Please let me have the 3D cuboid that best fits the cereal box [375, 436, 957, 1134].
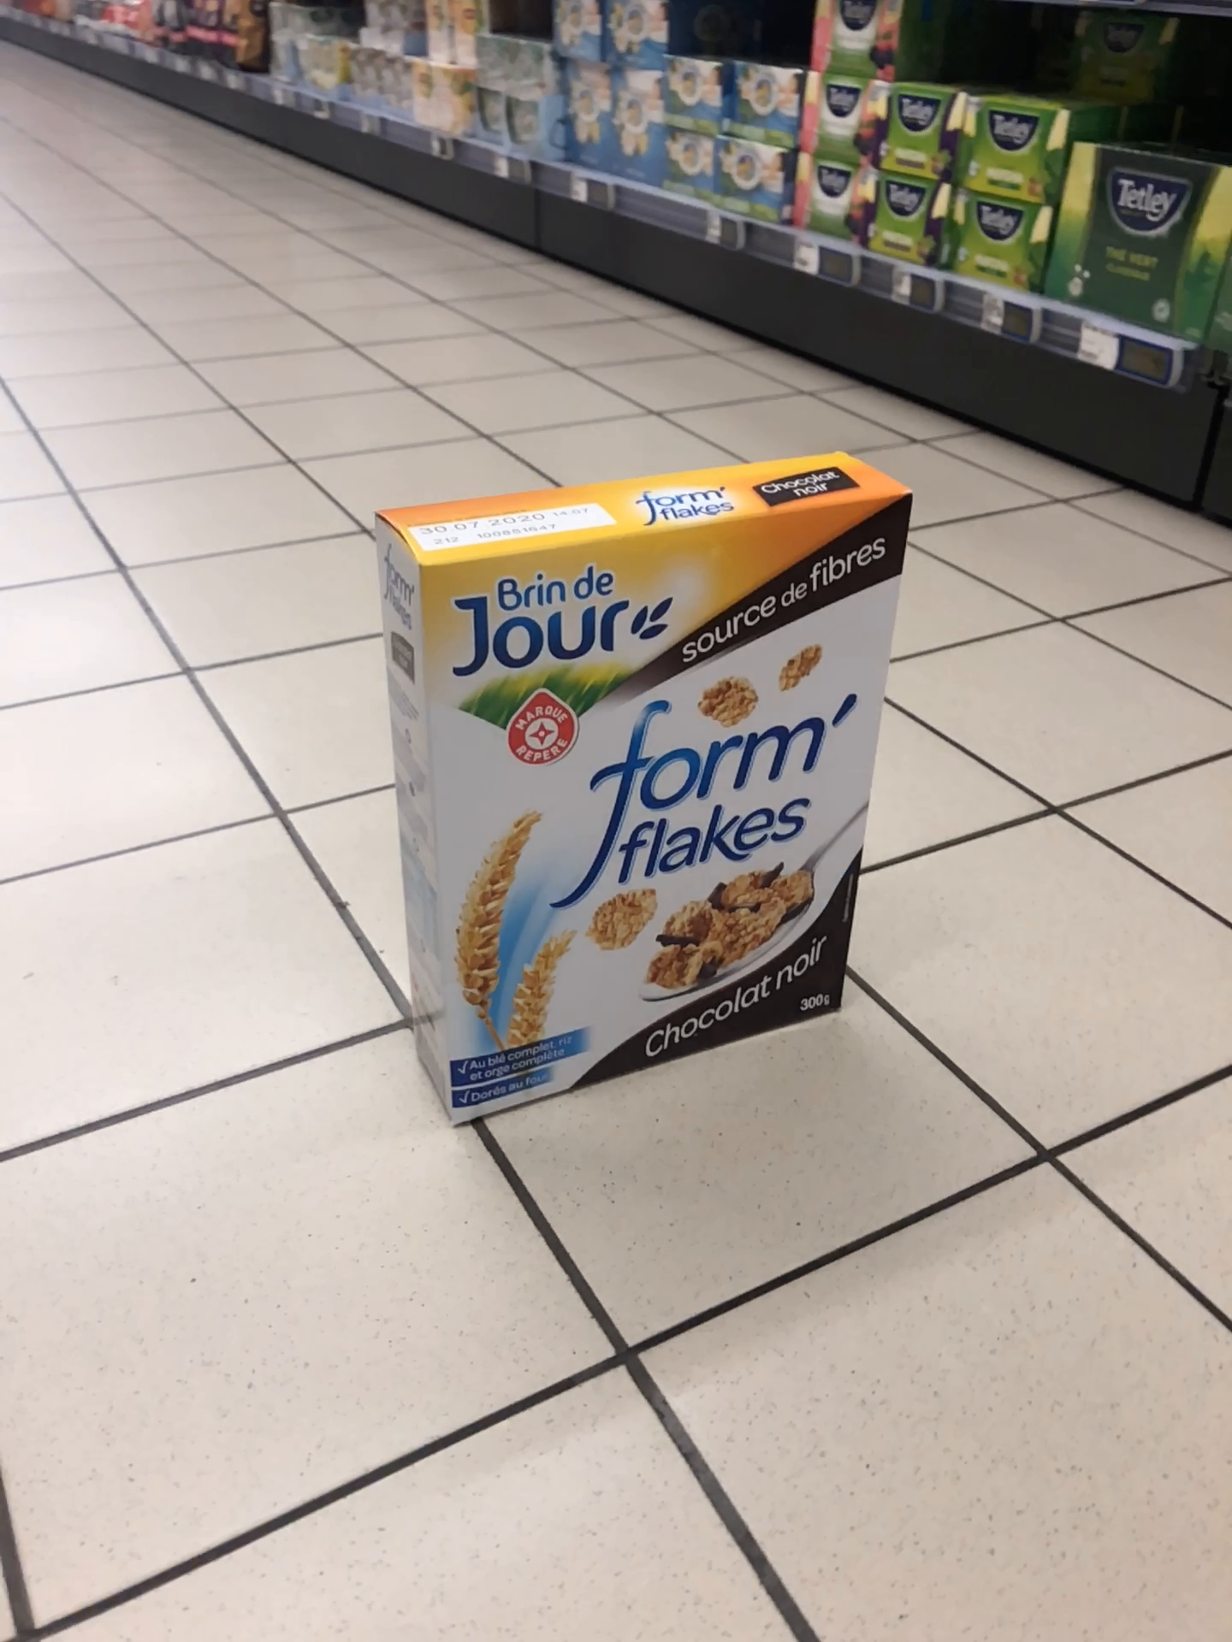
[{"bbox_3d":[0.017,-0.015,0.555,0.201,0.248,0.070,-12,34,-21],"label":"cereal box"}]
